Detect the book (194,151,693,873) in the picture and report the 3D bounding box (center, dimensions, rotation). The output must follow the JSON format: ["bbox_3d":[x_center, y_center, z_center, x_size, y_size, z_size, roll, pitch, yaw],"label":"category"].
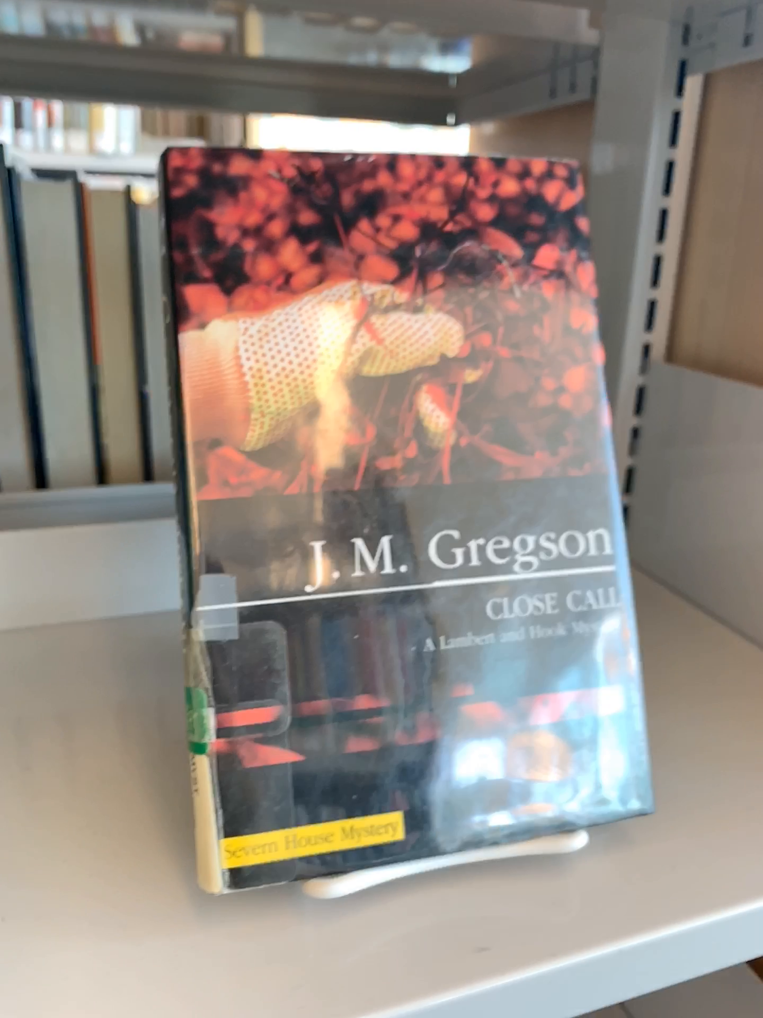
[{"bbox_3d":[0.018,-0.007,0.262,0.140,0.208,0.030,-4,-5,-14],"label":"book"}]
